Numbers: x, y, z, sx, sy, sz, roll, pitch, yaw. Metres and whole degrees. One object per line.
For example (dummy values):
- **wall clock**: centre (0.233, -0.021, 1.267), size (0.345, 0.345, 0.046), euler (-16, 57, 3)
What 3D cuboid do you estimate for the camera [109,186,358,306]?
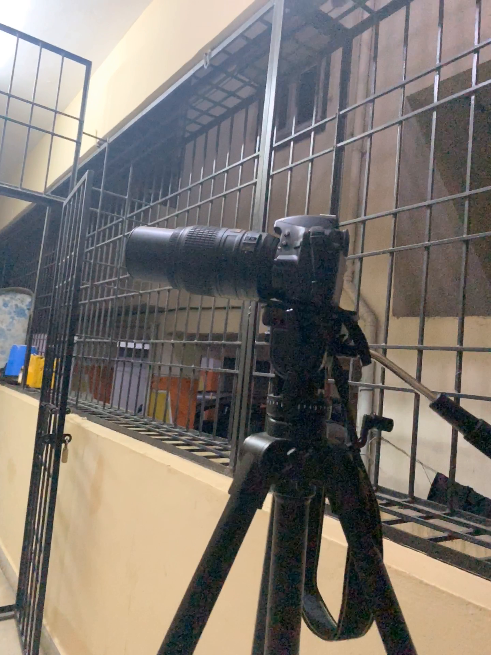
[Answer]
- **camera**: centre (-0.005, -0.082, 0.527), size (0.230, 0.090, 0.120), euler (4, -5, 15)
